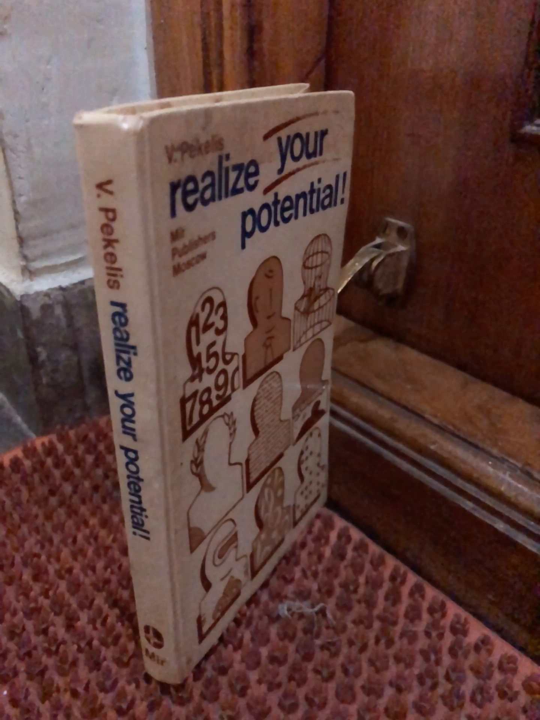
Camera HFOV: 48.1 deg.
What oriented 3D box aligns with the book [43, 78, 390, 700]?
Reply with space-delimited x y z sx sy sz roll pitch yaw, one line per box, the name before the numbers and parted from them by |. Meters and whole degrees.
book | -0.002 0.004 0.247 0.030 0.209 0.151 16 31 29
